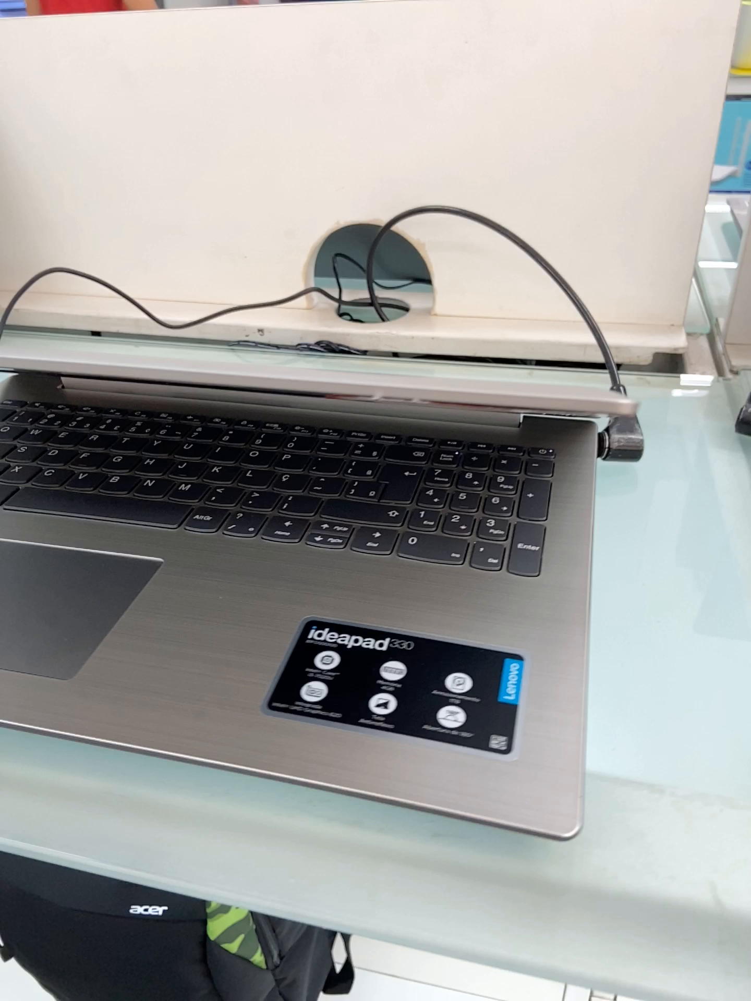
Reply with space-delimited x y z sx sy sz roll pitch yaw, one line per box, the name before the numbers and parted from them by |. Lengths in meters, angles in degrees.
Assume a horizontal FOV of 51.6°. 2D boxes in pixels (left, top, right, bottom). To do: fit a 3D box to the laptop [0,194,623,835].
laptop | -0.094 -0.040 0.331 0.369 0.114 0.247 6 35 14
